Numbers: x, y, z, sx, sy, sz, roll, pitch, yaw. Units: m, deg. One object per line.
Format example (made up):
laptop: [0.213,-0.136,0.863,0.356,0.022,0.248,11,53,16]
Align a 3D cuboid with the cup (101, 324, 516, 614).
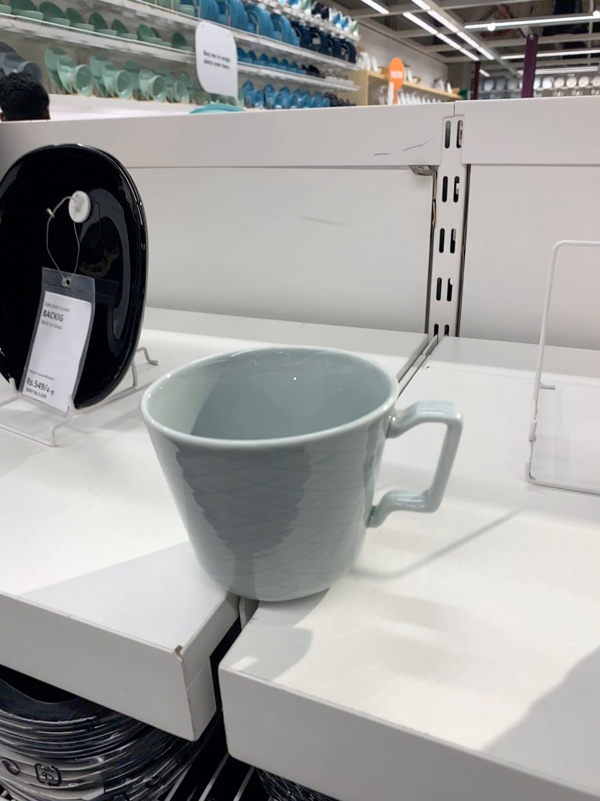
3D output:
cup: [0.001,0.019,0.252,0.130,0.070,0.100,-3,23,-4]
